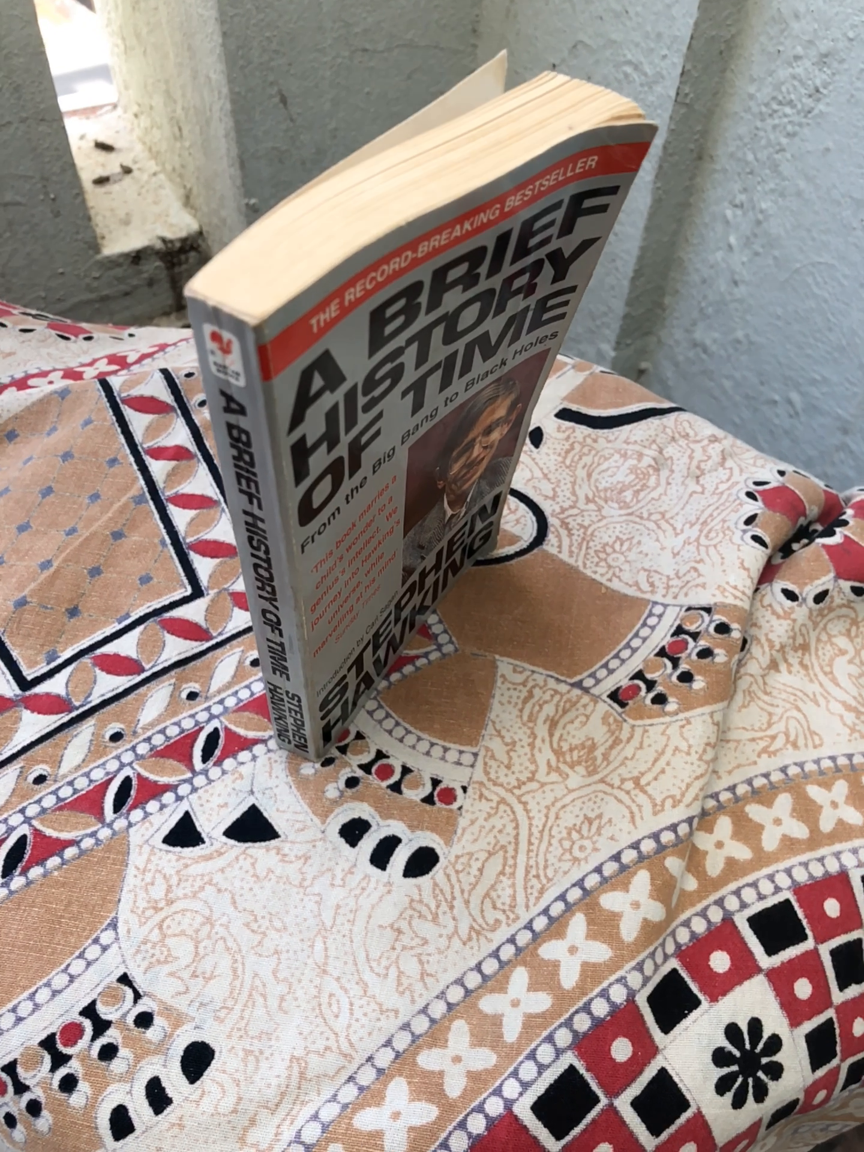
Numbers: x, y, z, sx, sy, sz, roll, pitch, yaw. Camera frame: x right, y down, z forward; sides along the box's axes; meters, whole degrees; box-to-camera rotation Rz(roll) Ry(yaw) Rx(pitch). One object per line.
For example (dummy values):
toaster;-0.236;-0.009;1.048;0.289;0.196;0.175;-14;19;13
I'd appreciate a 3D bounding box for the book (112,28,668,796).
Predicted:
book;-0.006;-0.031;0.256;0.030;0.169;0.130;35;59;19
